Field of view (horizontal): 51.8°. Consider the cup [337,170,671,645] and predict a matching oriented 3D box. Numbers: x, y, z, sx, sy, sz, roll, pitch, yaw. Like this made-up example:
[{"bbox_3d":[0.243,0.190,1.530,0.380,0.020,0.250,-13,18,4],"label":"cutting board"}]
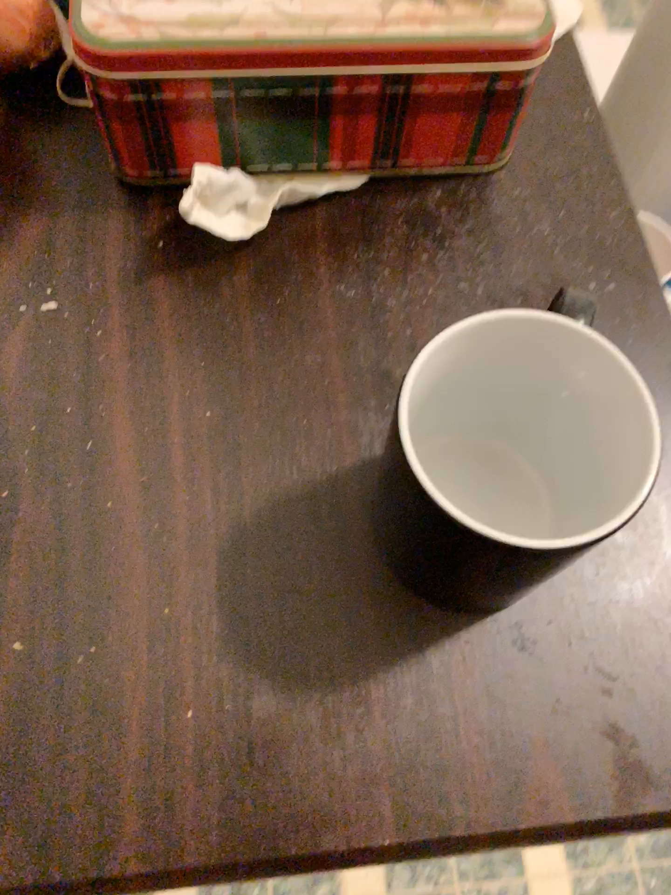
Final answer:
[{"bbox_3d":[0.067,-0.010,0.264,0.080,0.100,0.130,25,67,8],"label":"cup"}]
